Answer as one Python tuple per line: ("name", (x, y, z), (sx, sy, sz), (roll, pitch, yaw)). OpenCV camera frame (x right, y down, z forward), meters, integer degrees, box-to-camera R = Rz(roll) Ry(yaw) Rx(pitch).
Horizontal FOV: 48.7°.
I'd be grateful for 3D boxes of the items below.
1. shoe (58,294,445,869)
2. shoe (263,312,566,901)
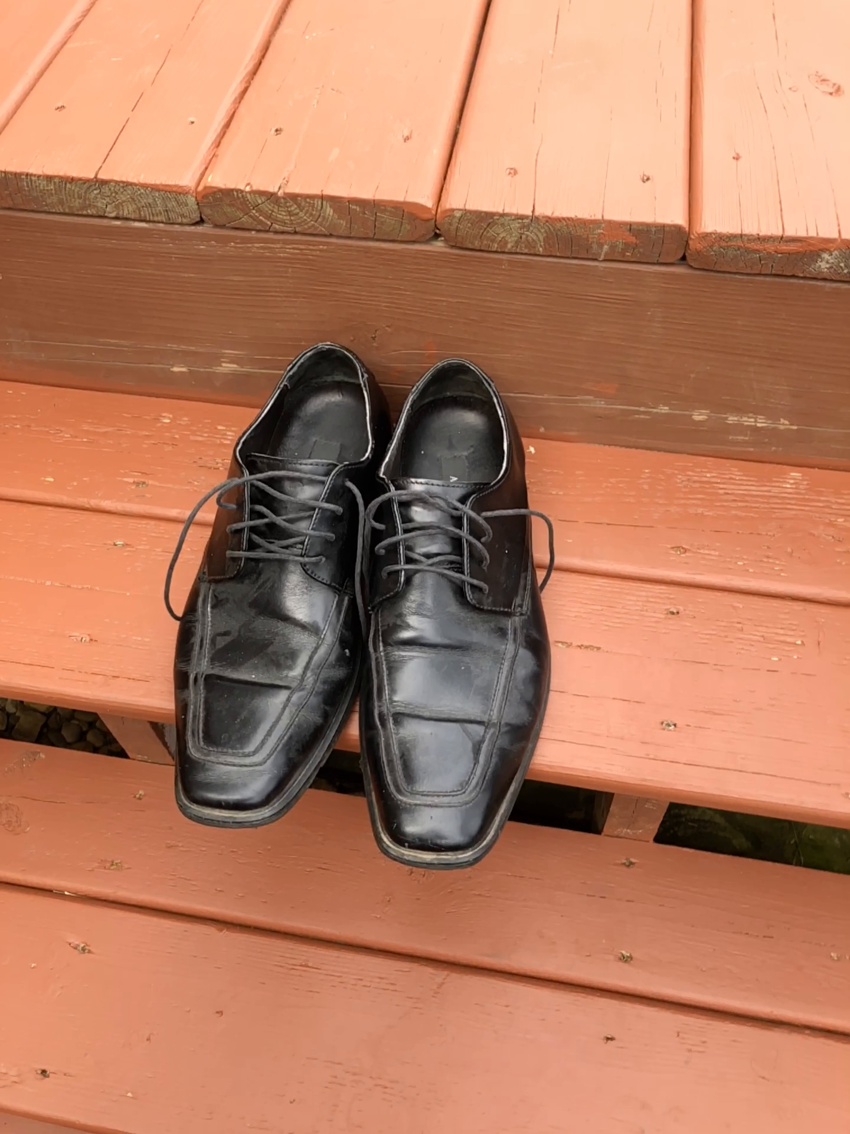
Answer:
("shoe", (-0.079, -0.008, 0.571), (0.130, 0.110, 0.331), (7, 56, 7))
("shoe", (0.010, 0.007, 0.554), (0.130, 0.110, 0.331), (4, 56, 5))
